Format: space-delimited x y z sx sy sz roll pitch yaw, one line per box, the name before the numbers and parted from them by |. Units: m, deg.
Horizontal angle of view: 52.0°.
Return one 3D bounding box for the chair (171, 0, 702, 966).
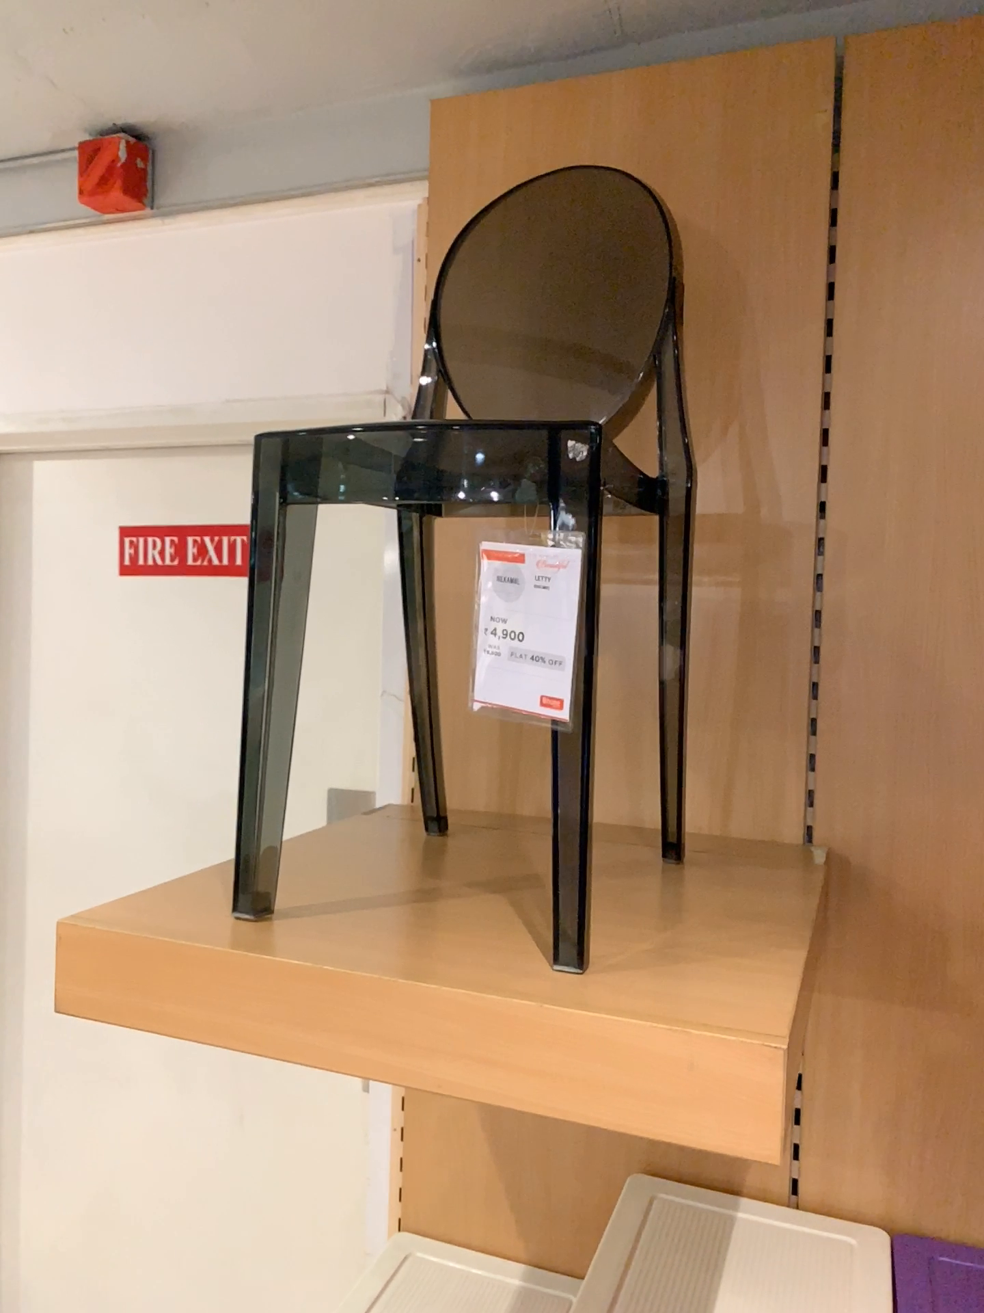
chair | -0.023 -0.189 1.091 0.400 0.850 0.470 2 2 20
